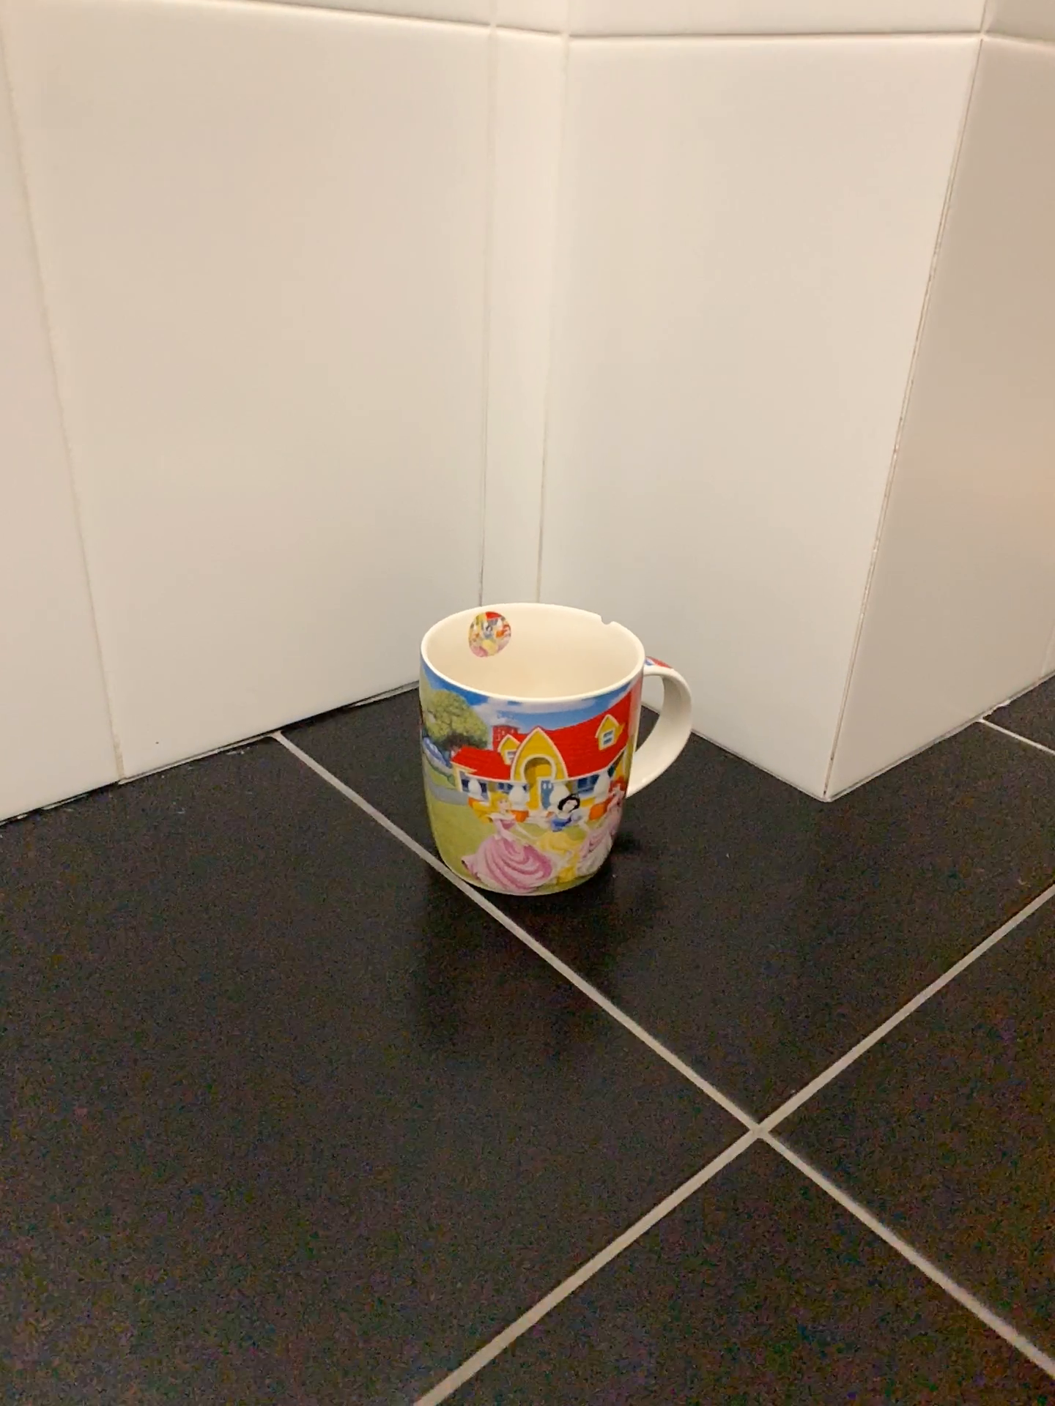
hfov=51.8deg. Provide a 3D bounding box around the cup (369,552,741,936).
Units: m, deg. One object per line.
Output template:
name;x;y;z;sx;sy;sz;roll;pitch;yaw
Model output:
cup;0.011;0.010;0.453;0.125;0.099;0.086;-23;38;-39
